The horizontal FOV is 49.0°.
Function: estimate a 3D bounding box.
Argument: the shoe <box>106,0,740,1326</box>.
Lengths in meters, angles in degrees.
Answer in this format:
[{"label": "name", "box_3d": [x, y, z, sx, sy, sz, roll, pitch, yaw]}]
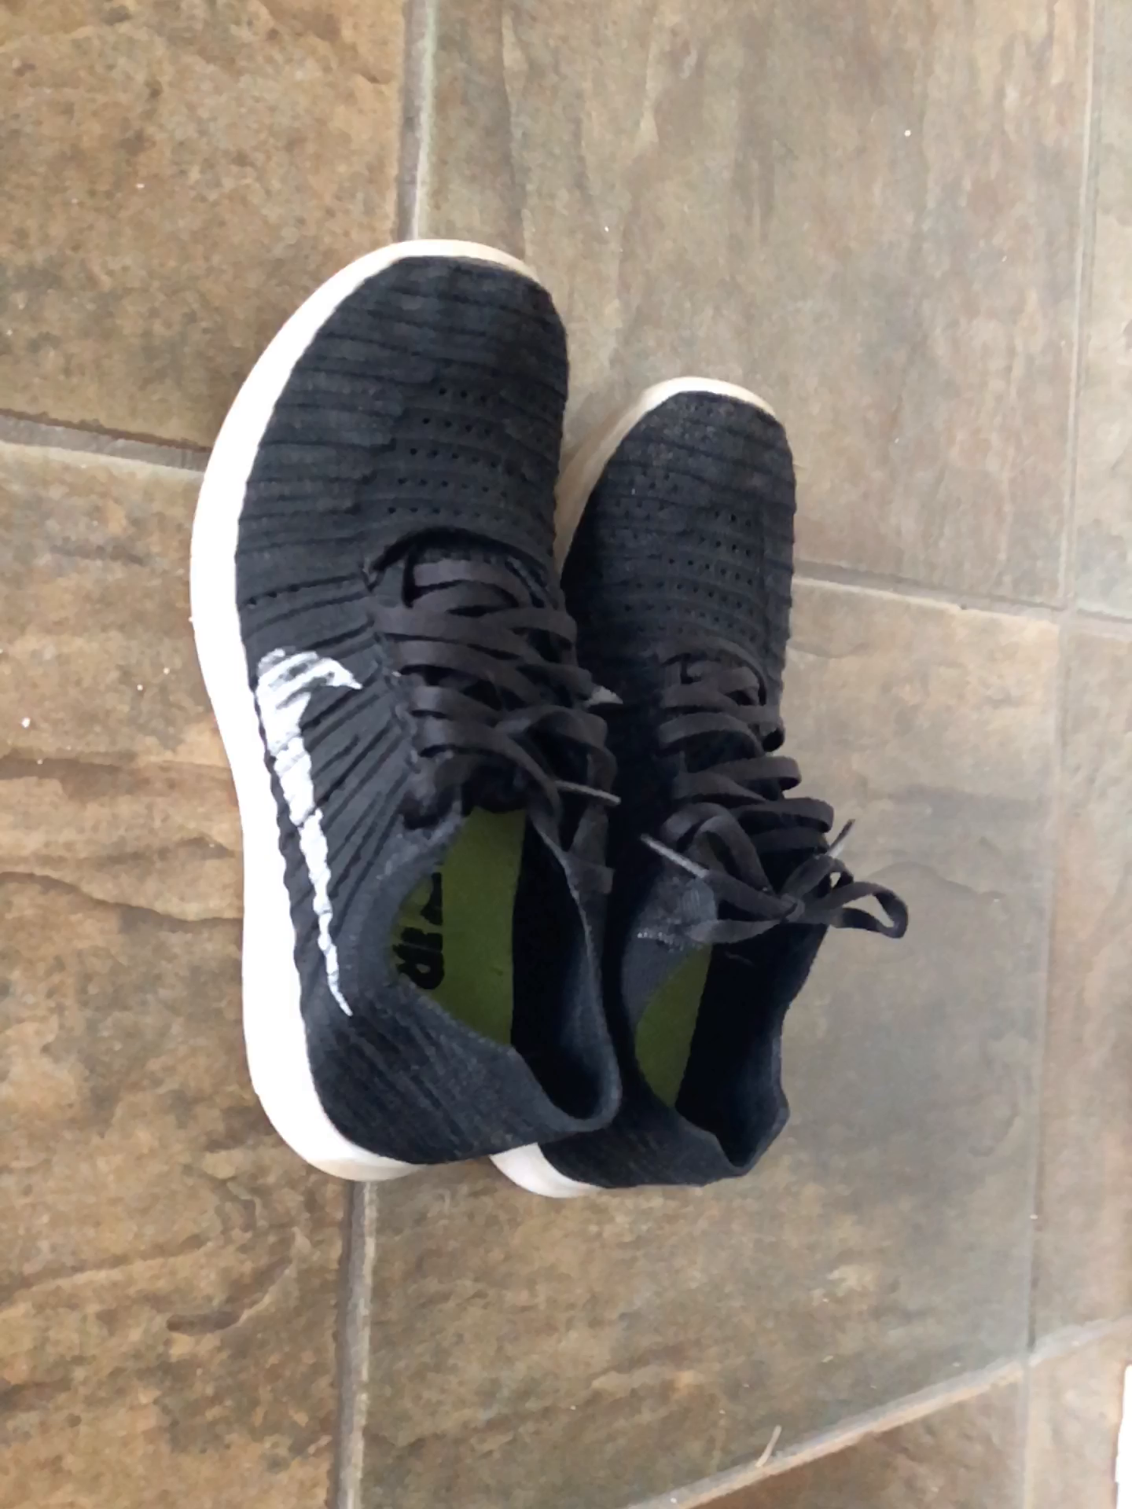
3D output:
[{"label": "shoe", "box_3d": [-0.039, -0.017, 0.315, 0.110, 0.100, 0.260, 4, 90, -34]}]

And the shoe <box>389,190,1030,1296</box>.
[{"label": "shoe", "box_3d": [0.041, 0.001, 0.360, 0.110, 0.100, 0.260, 11, 85, -34]}]
